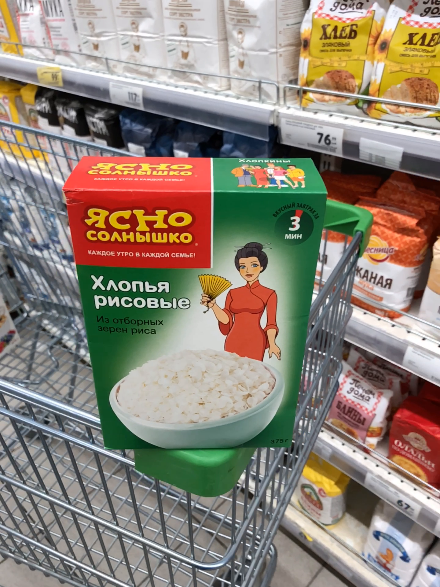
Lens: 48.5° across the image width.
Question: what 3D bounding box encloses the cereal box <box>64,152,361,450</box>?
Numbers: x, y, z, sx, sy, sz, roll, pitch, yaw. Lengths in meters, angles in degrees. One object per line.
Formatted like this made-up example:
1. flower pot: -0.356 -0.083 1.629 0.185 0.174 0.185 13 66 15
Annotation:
1. cereal box: -0.004 0.014 0.304 0.140 0.189 0.050 0 33 -1
